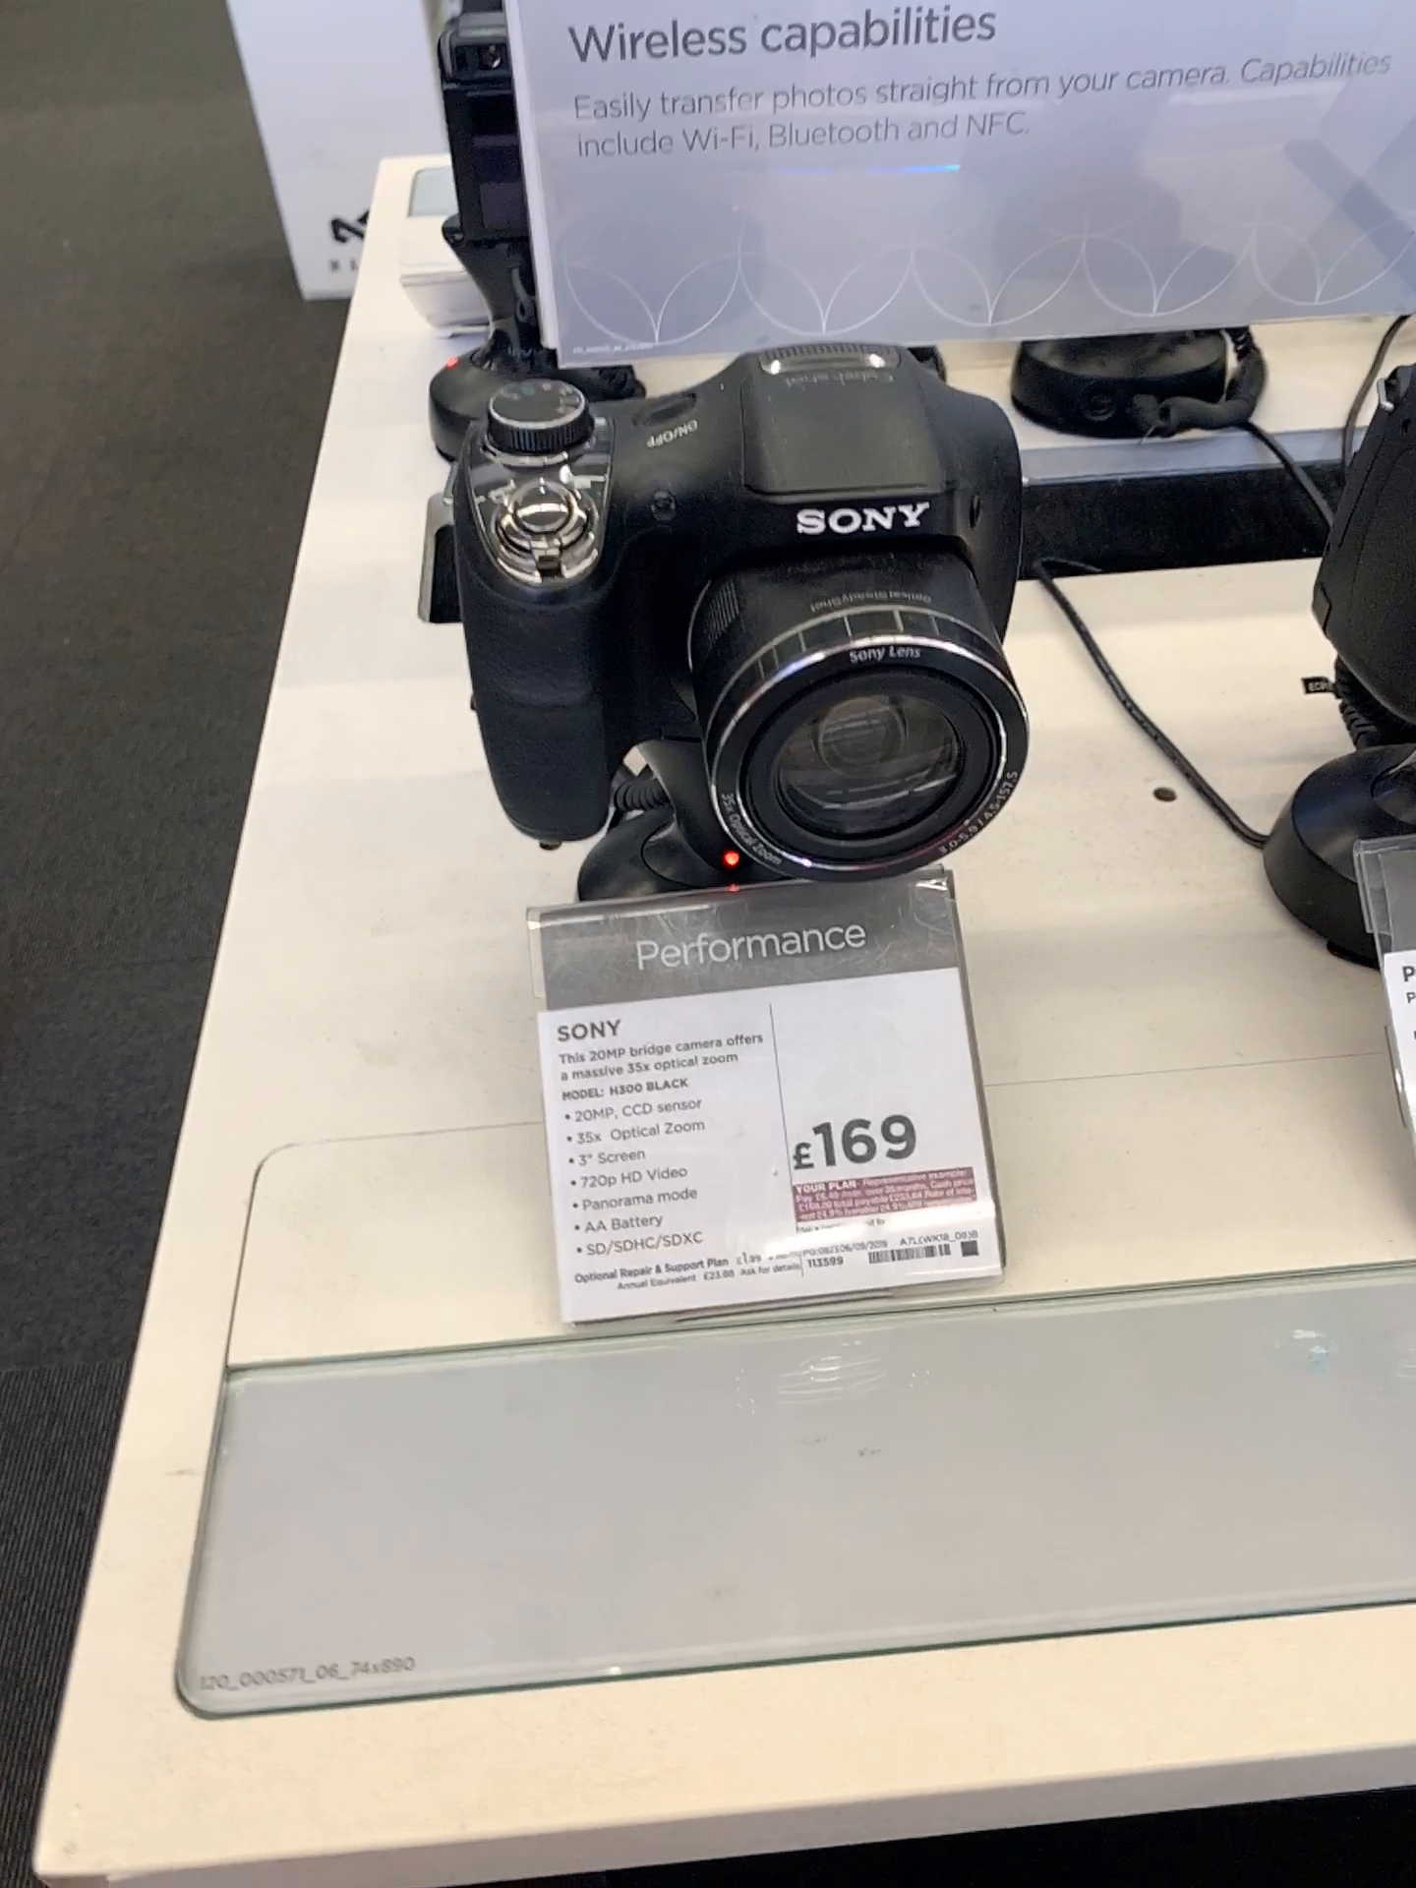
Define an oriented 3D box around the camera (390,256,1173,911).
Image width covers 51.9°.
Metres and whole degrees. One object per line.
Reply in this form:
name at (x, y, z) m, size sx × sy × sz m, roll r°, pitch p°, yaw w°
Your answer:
camera at (0.010, -0.075, 0.304) m, size 0.130 × 0.089 × 0.091 m, roll -5°, pitch 46°, yaw -2°
